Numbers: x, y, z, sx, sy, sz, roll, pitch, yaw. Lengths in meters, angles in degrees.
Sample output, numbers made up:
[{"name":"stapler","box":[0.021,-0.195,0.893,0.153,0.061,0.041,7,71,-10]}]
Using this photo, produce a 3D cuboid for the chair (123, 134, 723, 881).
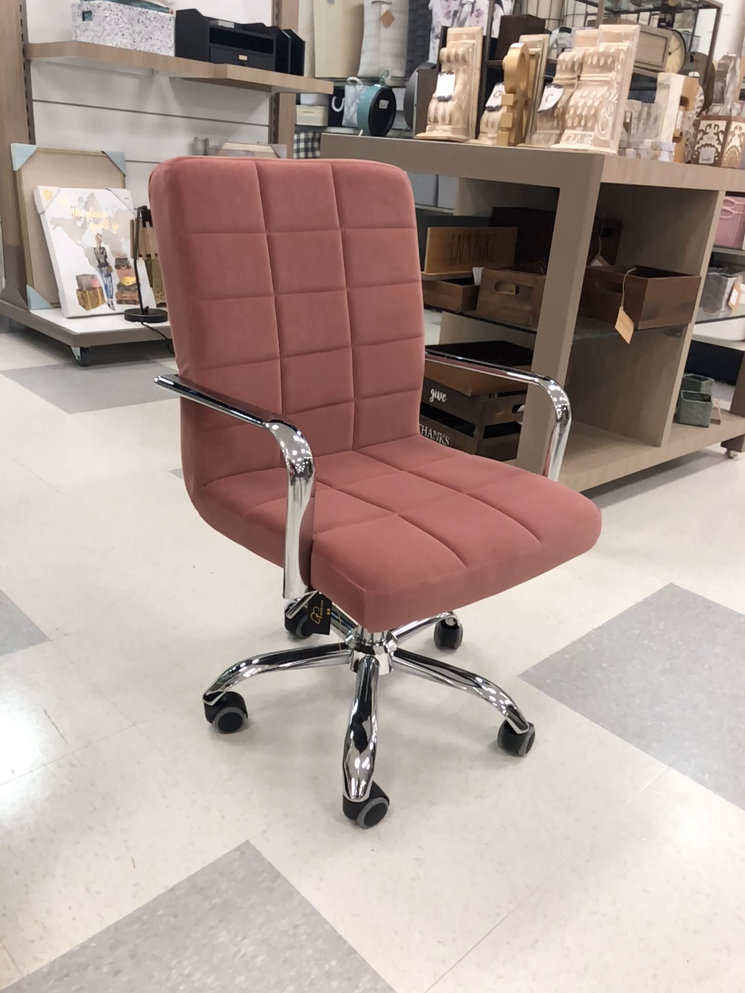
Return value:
[{"name":"chair","box":[0.029,-0.058,1.243,0.566,0.843,0.570,-15,30,-40]}]
